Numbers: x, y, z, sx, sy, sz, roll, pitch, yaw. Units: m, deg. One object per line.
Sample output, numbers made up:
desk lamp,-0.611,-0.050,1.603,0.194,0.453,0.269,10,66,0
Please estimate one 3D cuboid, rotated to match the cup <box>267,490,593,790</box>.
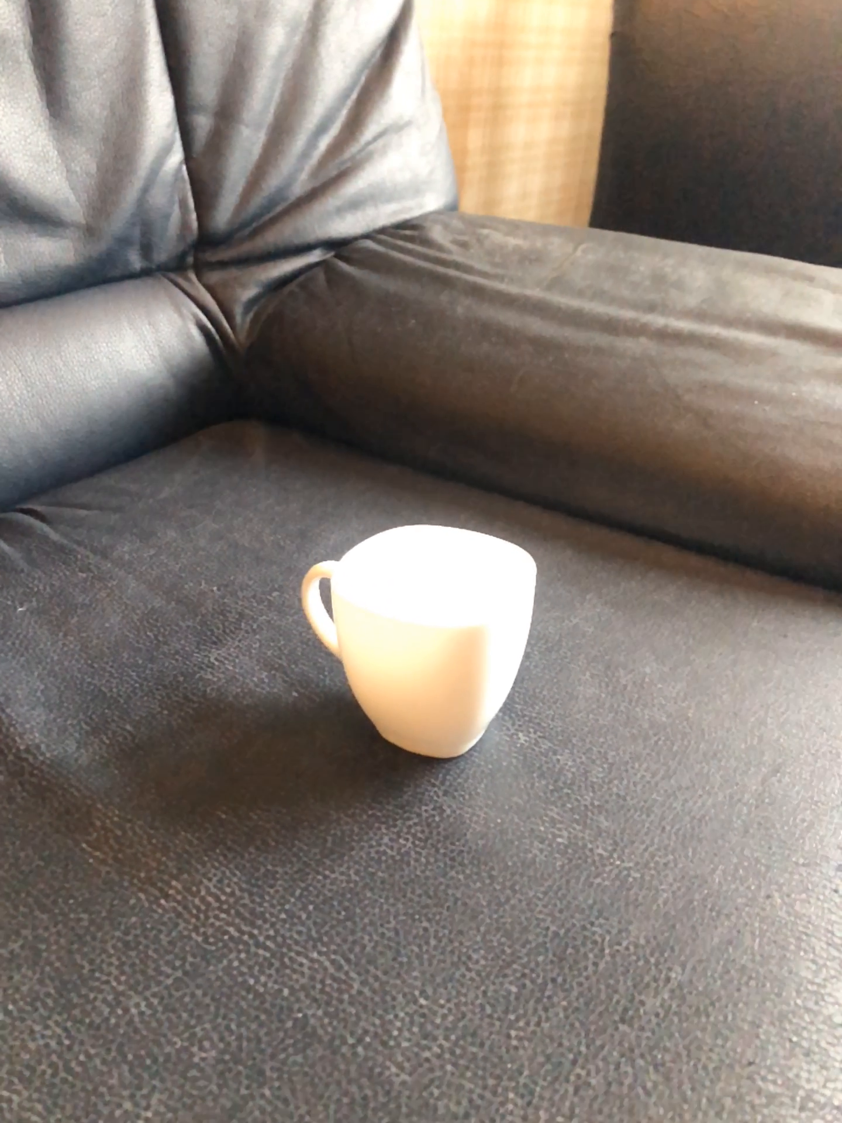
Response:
cup,0.003,0.026,0.379,0.101,0.063,0.080,19,33,28
